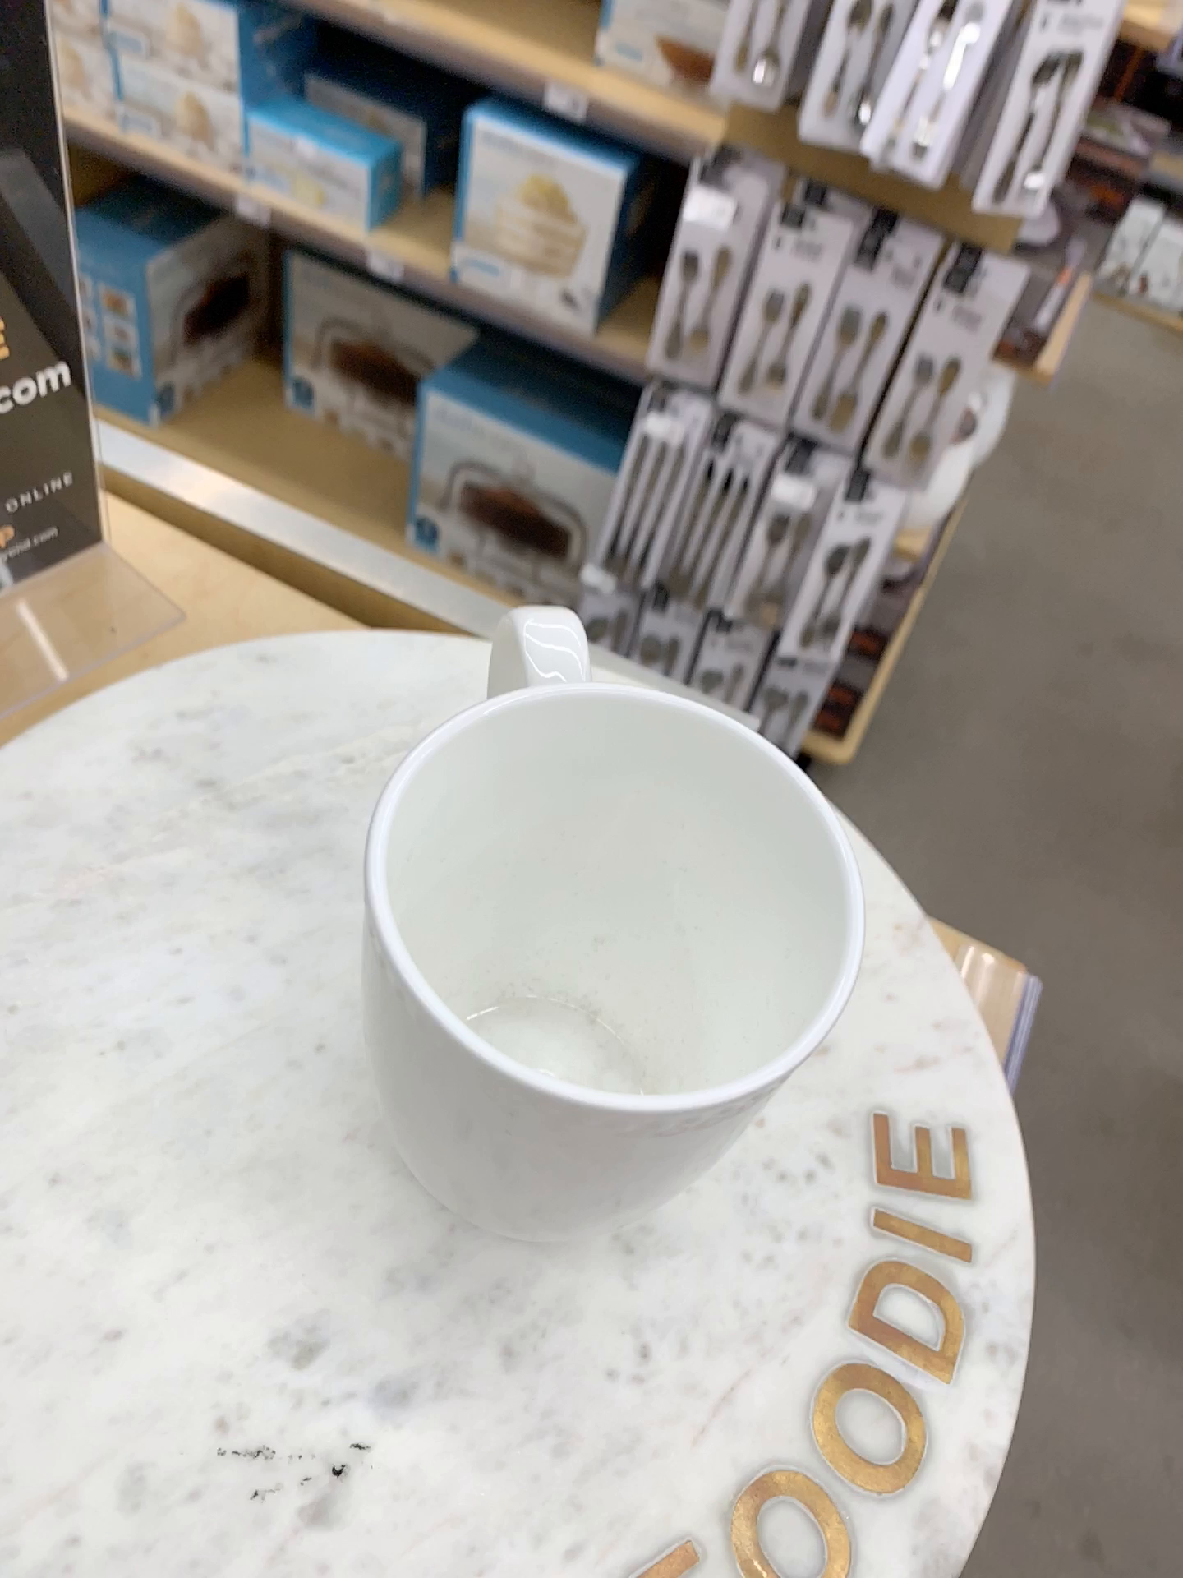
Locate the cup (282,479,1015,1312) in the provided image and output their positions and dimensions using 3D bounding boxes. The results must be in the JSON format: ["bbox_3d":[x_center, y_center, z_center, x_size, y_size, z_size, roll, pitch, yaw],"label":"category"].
[{"bbox_3d":[-0.004,0.017,0.251,0.096,0.094,0.125,-7,54,-18],"label":"cup"}]
